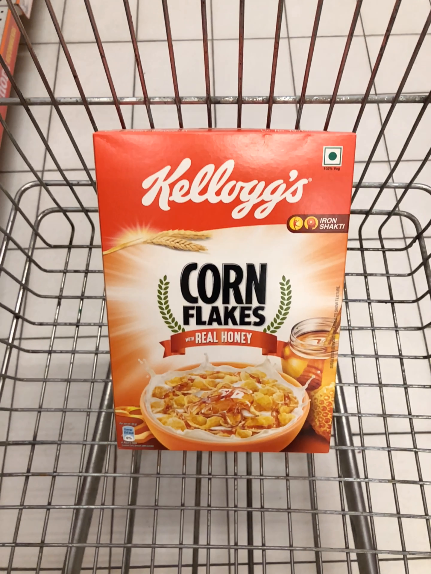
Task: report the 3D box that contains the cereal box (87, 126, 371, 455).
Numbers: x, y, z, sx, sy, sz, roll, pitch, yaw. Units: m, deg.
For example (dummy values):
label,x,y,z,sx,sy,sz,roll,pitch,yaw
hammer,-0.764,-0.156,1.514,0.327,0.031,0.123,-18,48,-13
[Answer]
label,x,y,z,sx,sy,sz,roll,pitch,yaw
cereal box,0.009,0.003,0.398,0.190,0.080,0.259,1,108,1
